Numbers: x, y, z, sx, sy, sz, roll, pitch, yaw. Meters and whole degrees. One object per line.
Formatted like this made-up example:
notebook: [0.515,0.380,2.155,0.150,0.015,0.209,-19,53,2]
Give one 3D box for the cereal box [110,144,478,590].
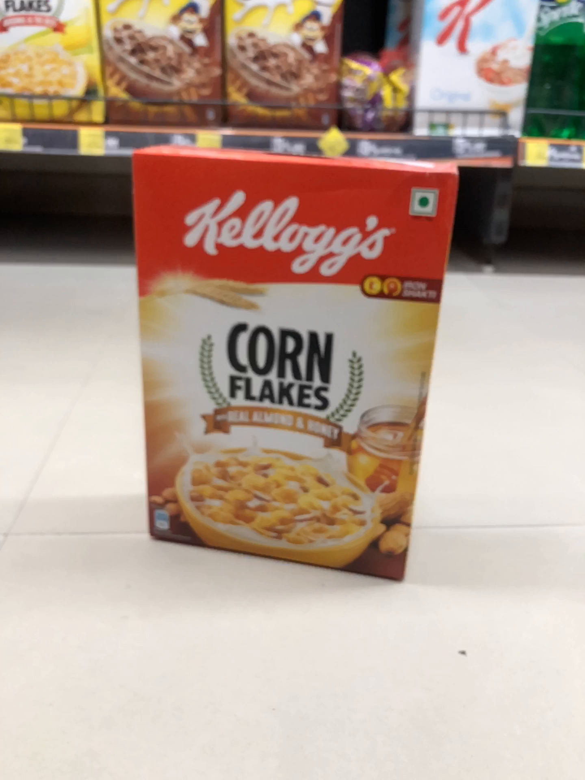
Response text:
cereal box: [-0.001,-0.014,0.412,0.190,0.249,0.070,7,24,10]
